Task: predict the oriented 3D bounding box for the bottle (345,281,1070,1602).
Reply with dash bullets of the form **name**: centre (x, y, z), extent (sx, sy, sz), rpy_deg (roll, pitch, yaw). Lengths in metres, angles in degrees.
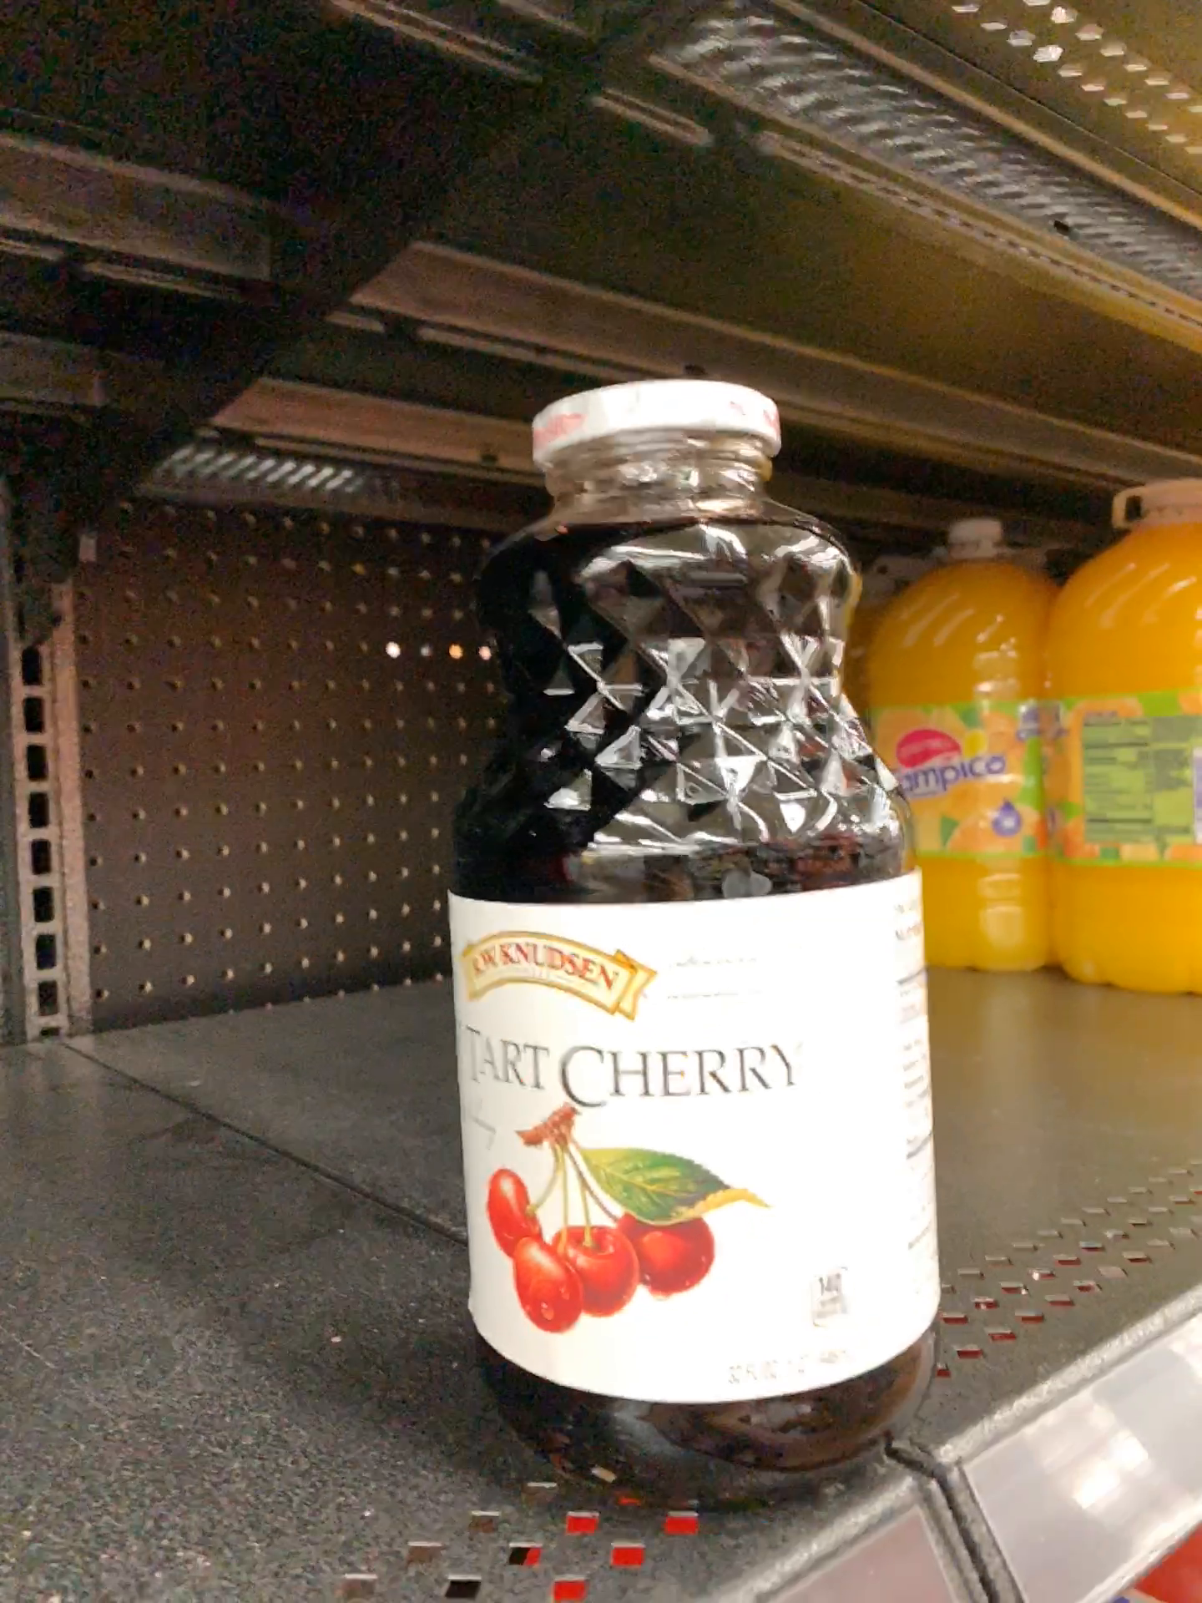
- **bottle**: centre (0.027, 0.021, 0.260), extent (0.100, 0.200, 0.110), rpy_deg (-2, 2, 0)
